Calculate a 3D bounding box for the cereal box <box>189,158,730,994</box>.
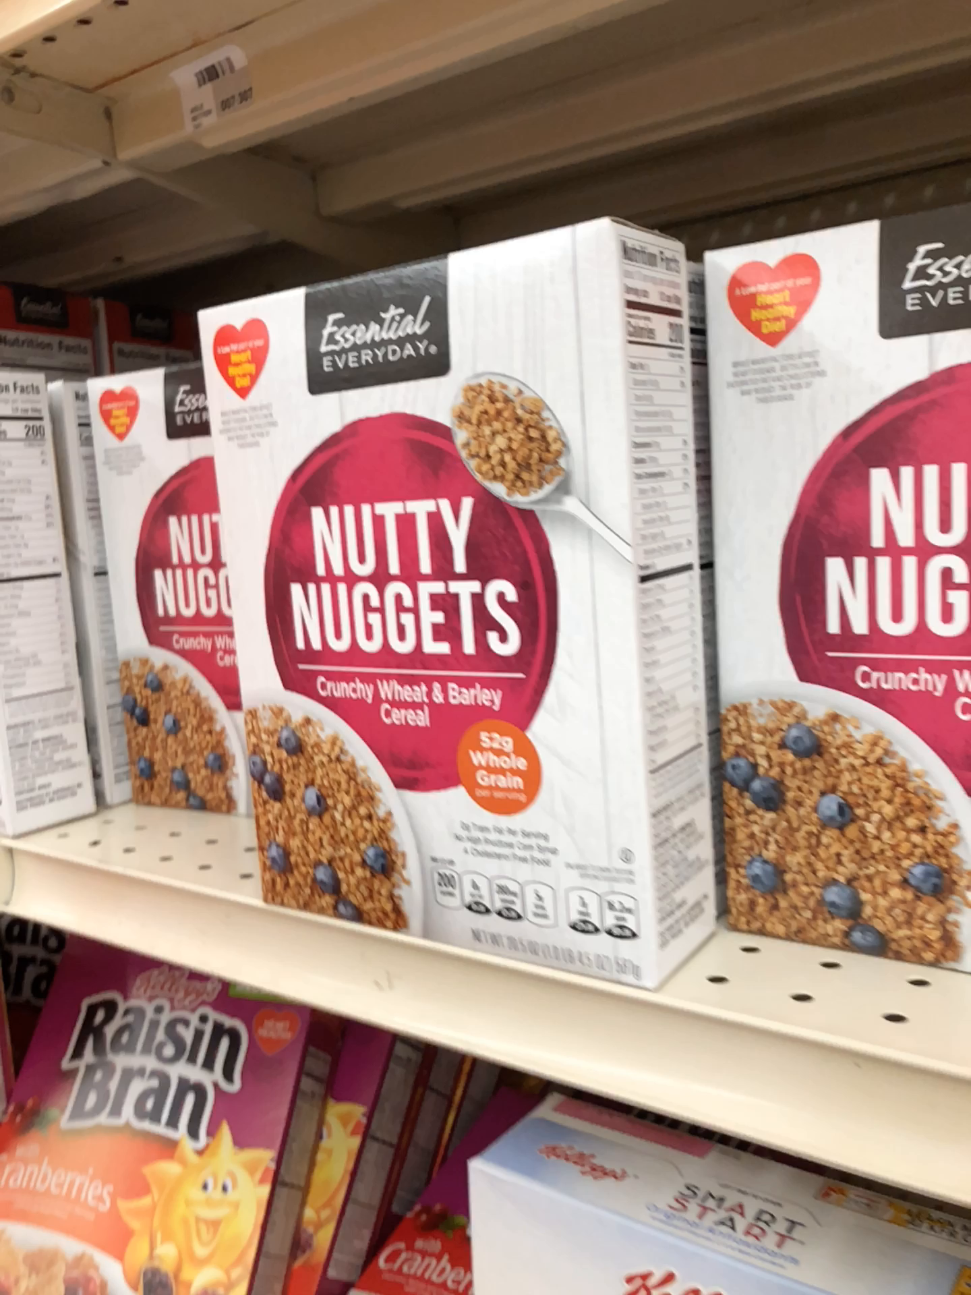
[{"bbox_3d":[-0.012,-0.019,0.366,0.170,0.230,0.050,1,8,35],"label":"cereal box"}]
